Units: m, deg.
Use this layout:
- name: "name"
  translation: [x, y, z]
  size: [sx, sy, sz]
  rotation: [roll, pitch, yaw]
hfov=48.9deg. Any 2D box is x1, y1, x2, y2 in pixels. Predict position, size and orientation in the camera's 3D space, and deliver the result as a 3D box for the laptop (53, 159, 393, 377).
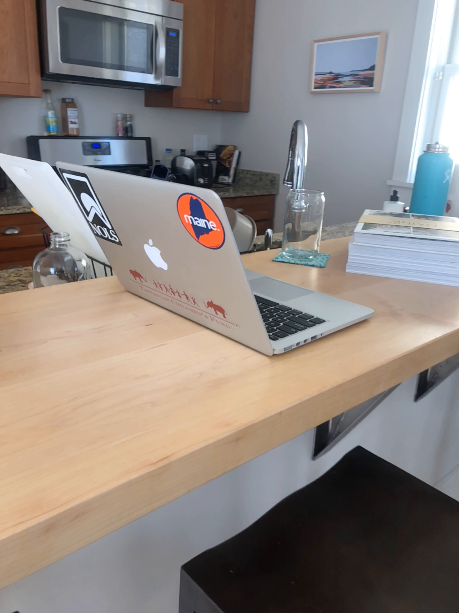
- name: "laptop"
  translation: [-0.013, -0.093, 0.712]
  size: [0.324, 0.188, 0.322]
  rotation: [-16, 27, -41]
